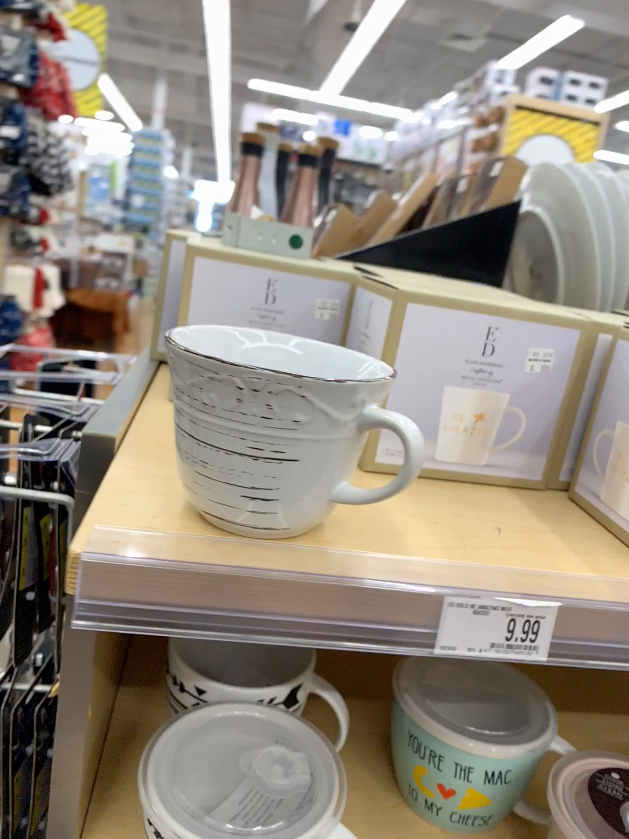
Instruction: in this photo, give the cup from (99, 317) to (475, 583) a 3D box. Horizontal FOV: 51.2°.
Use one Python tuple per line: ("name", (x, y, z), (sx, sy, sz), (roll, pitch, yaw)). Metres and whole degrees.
("cup", (-0.013, 0.002, 0.310), (0.124, 0.075, 0.114), (9, 13, -2))
